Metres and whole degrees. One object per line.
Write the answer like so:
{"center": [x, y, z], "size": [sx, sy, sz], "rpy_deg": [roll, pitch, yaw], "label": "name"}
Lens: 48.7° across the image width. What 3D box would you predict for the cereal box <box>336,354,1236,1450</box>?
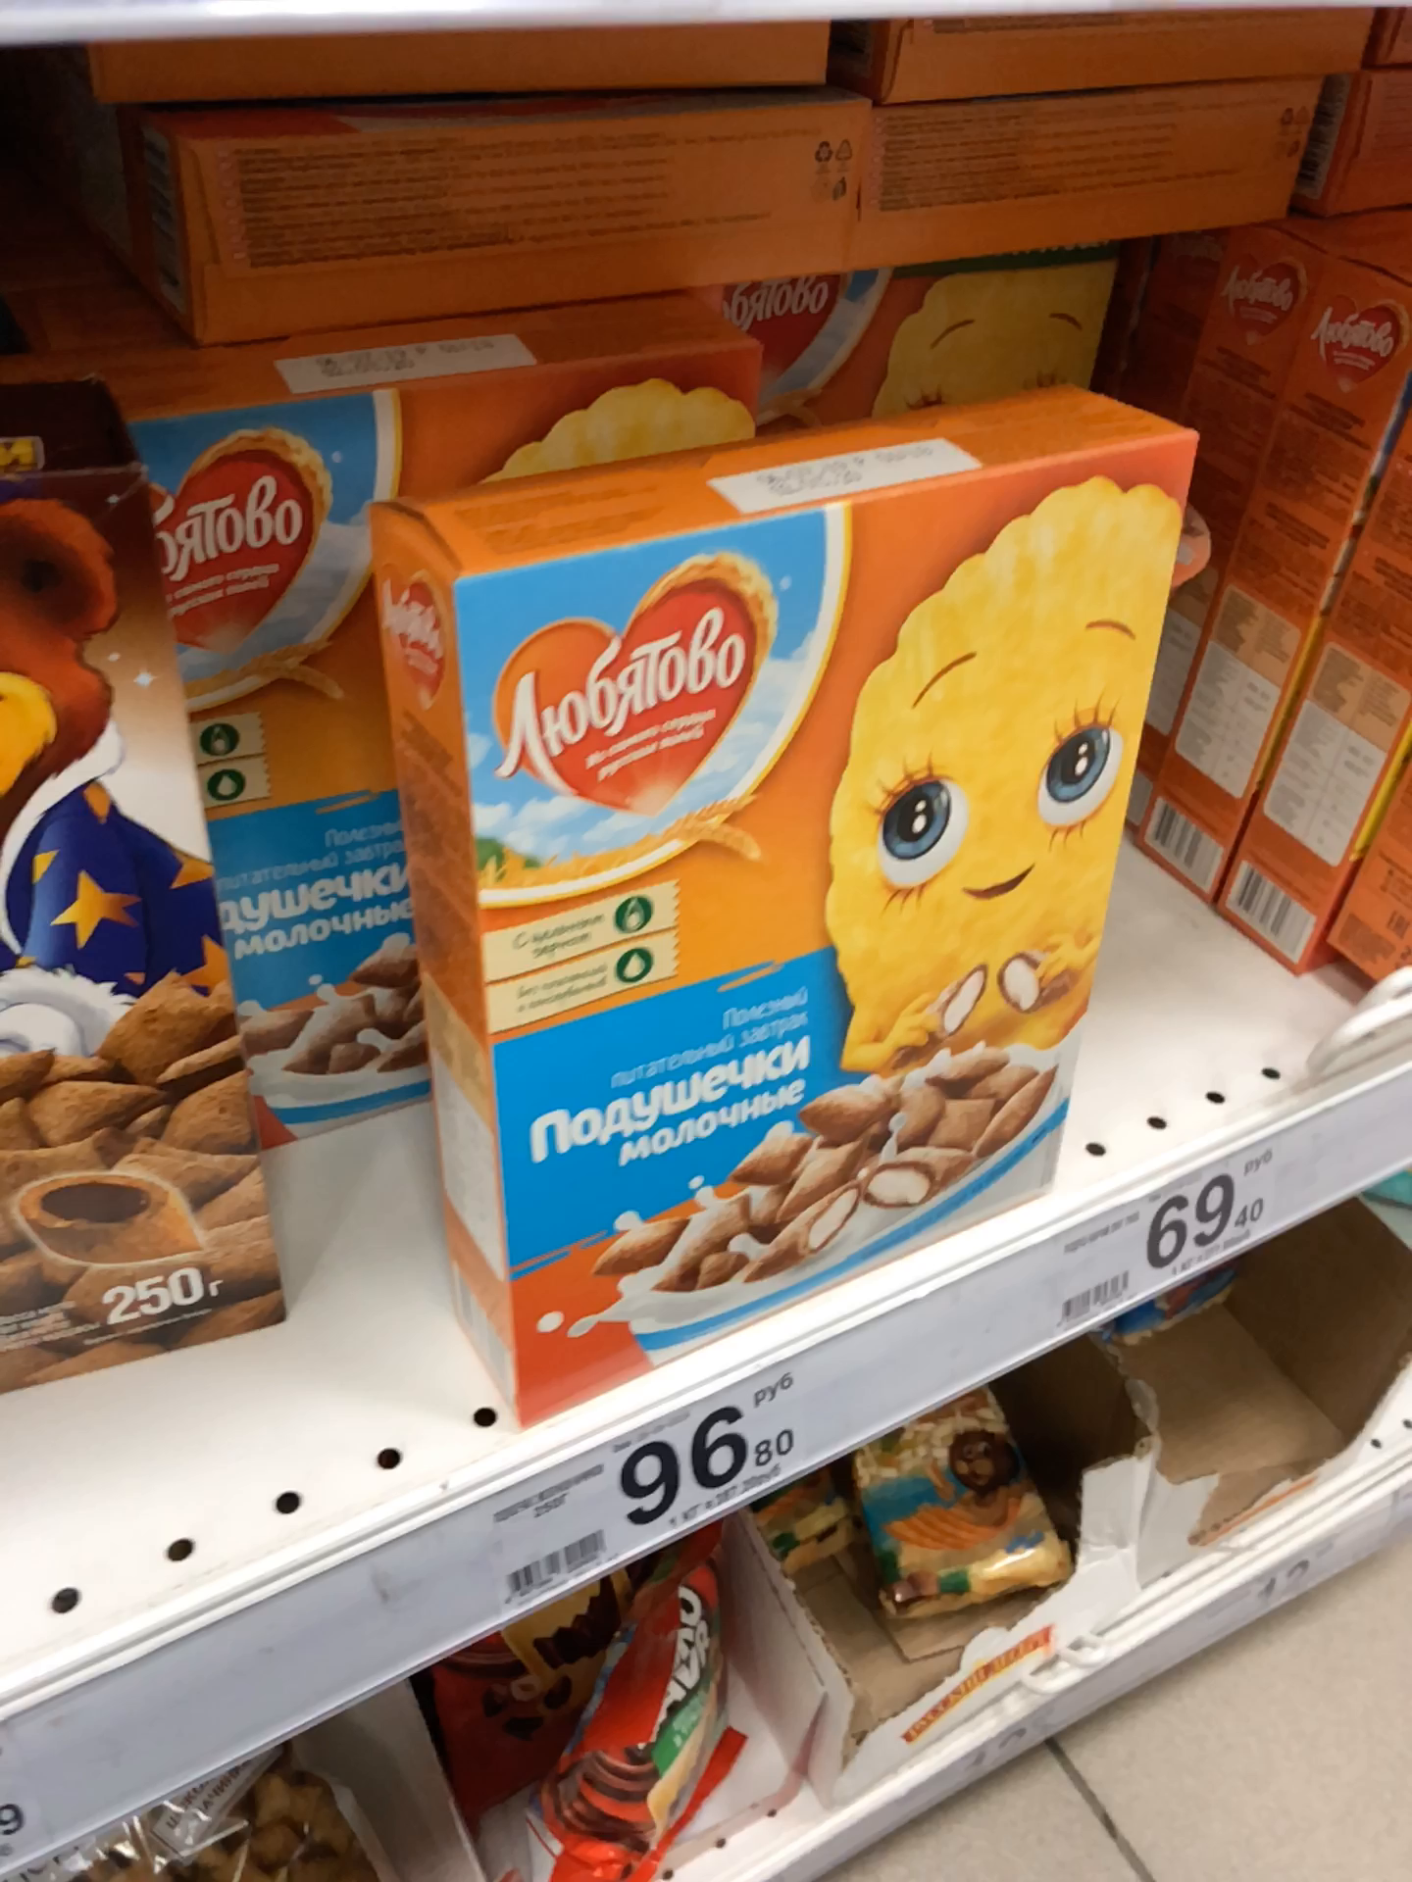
{"center": [0.018, -0.006, 0.374], "size": [0.181, 0.229, 0.050], "rpy_deg": [-18, 41, -26], "label": "cereal box"}
